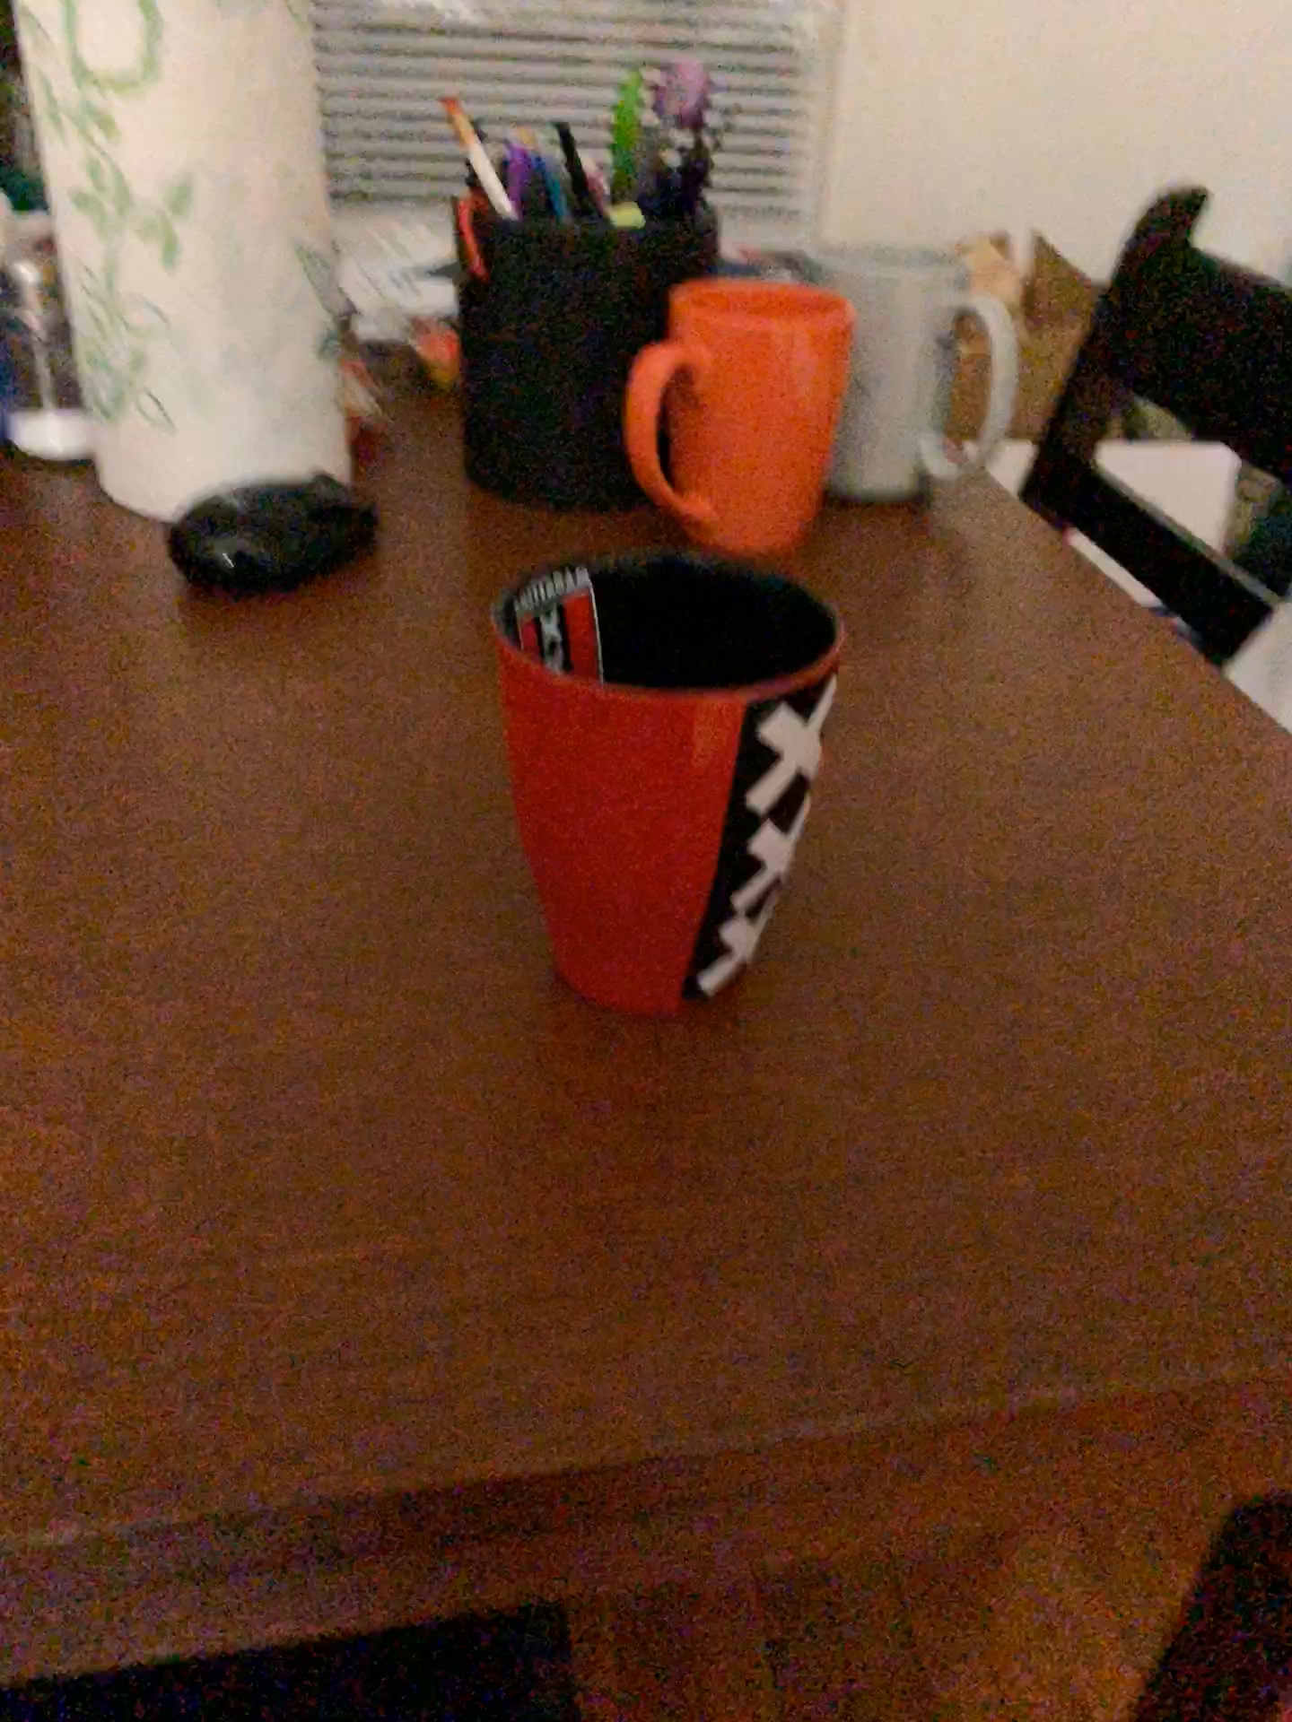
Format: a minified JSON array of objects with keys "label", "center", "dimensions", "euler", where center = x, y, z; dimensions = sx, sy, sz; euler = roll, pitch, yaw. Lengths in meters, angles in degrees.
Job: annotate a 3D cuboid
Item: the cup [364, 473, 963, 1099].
[{"label":"cup","center":[0.008,-0.029,0.355],"dimensions":[0.090,0.099,0.130],"euler":[23,39,27]}]
